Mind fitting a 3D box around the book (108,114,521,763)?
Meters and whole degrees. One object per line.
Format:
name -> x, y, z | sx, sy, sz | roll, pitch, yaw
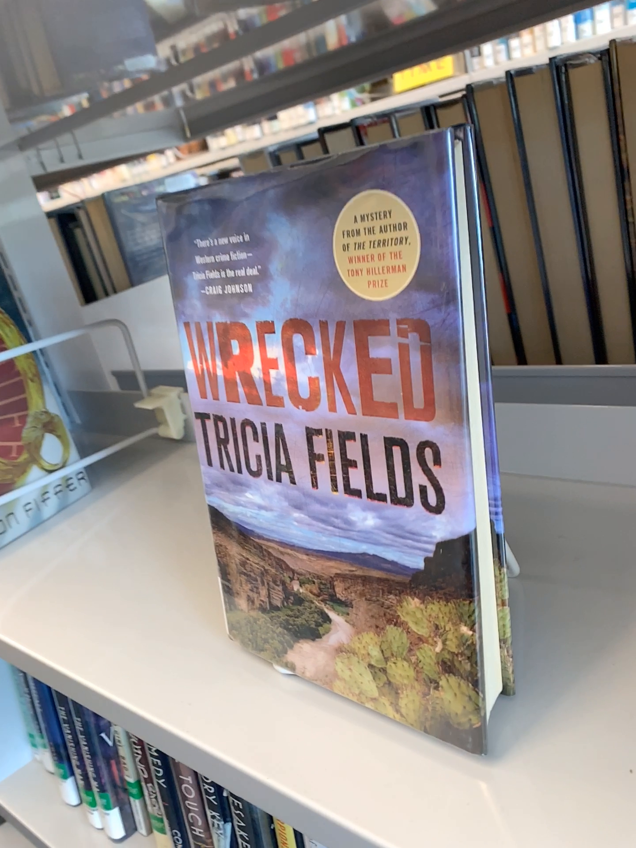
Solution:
book -> -0.005, 0.005, 0.261 | 0.150, 0.203, 0.040 | 5, 19, 42
